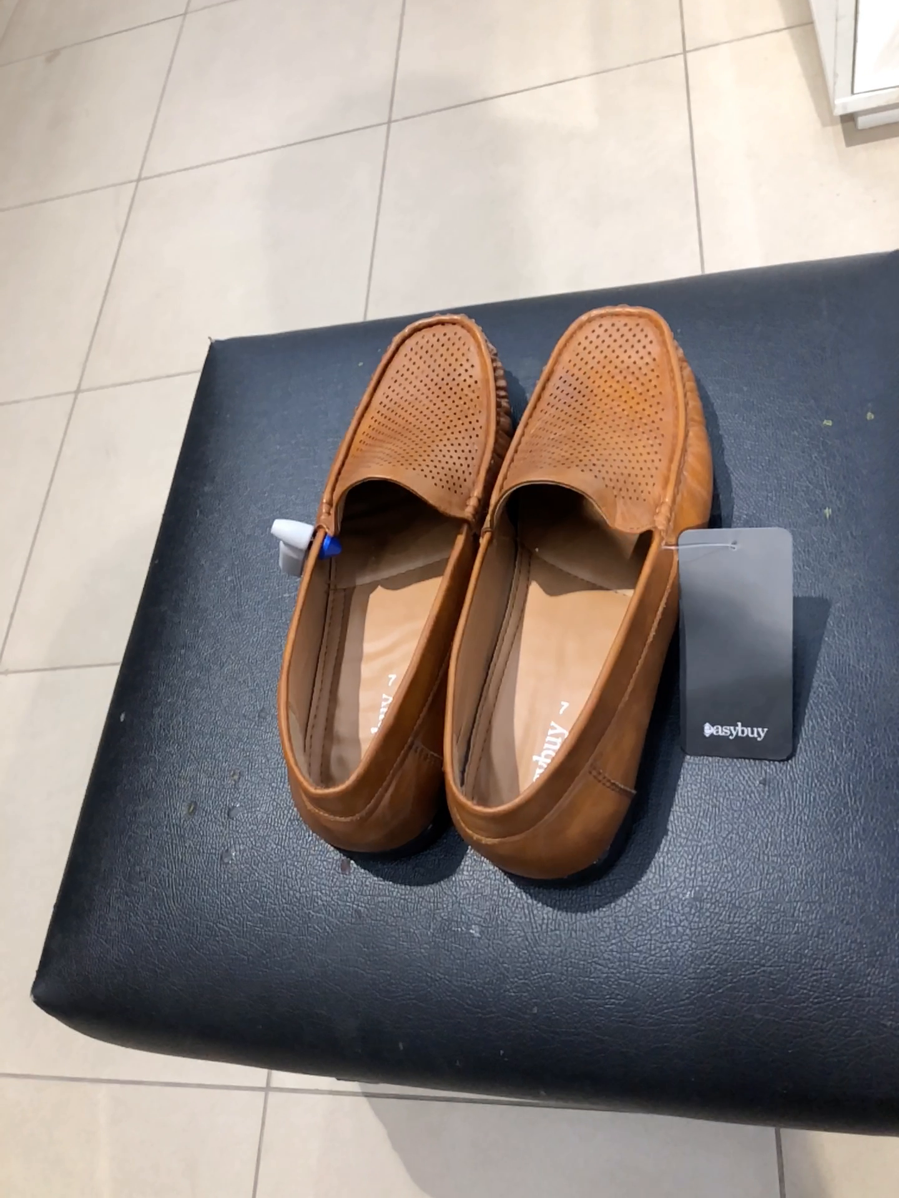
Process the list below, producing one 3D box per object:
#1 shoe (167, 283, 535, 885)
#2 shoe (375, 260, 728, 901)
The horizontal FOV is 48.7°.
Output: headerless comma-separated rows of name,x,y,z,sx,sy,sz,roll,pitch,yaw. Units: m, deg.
shoe,-0.030,-0.011,0.457,0.097,0.096,0.253,-1,63,18
shoe,0.058,-0.014,0.431,0.097,0.096,0.253,3,64,20
